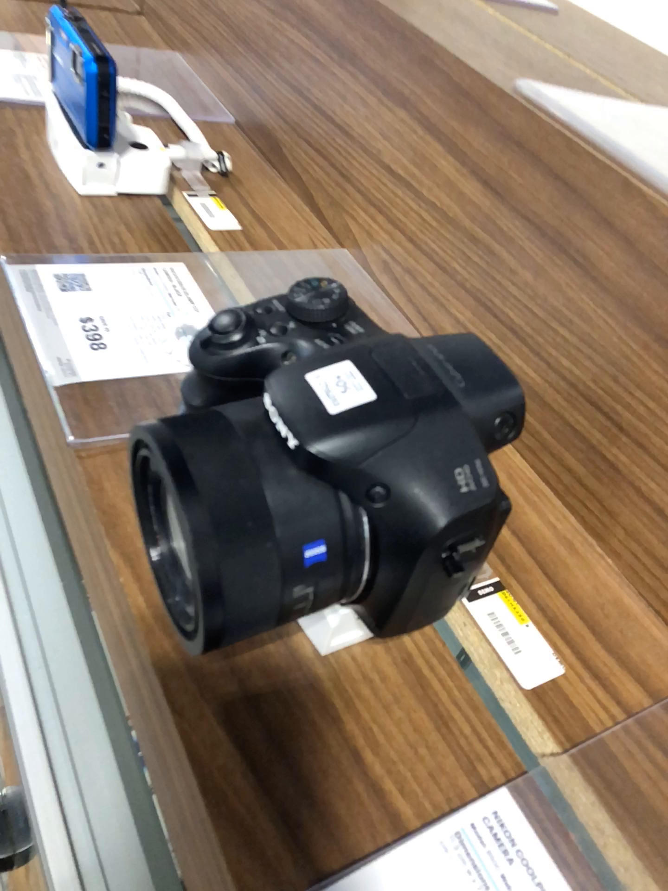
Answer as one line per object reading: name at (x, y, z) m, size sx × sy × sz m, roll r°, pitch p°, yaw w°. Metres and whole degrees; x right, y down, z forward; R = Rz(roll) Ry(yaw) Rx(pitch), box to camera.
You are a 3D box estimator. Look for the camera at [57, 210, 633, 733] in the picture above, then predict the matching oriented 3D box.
camera at (-0.008, -0.005, 0.251) m, size 0.130 × 0.089 × 0.131 m, roll -11°, pitch 49°, yaw -32°
